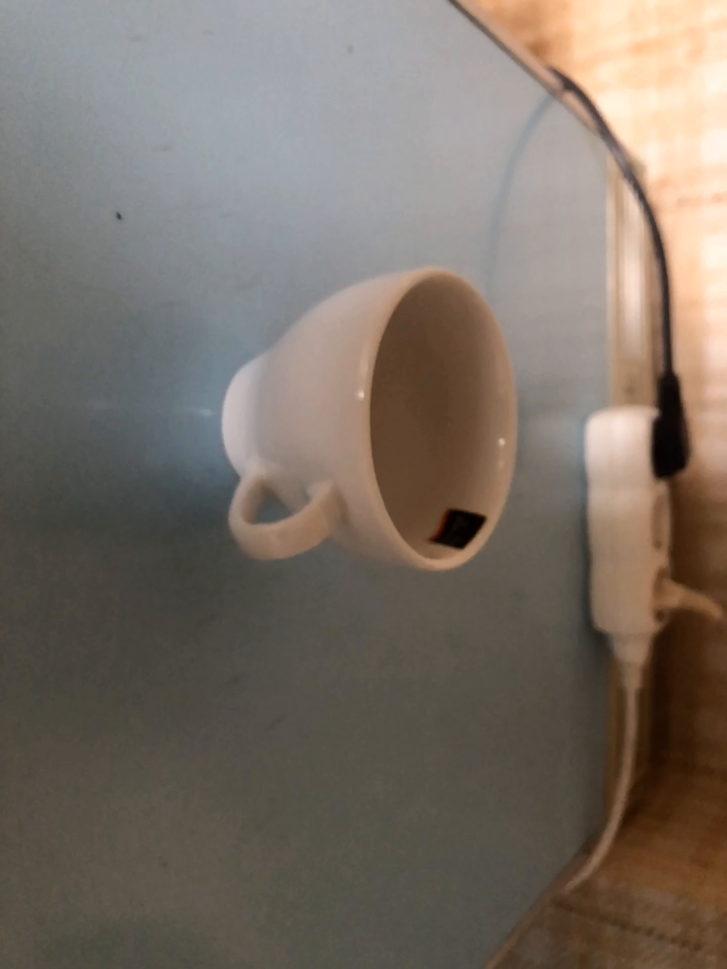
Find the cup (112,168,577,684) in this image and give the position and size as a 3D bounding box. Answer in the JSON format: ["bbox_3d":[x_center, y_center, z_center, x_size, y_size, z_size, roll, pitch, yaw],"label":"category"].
[{"bbox_3d":[0.006,-0.018,0.241,0.111,0.065,0.088,-60,136,-35],"label":"cup"}]
